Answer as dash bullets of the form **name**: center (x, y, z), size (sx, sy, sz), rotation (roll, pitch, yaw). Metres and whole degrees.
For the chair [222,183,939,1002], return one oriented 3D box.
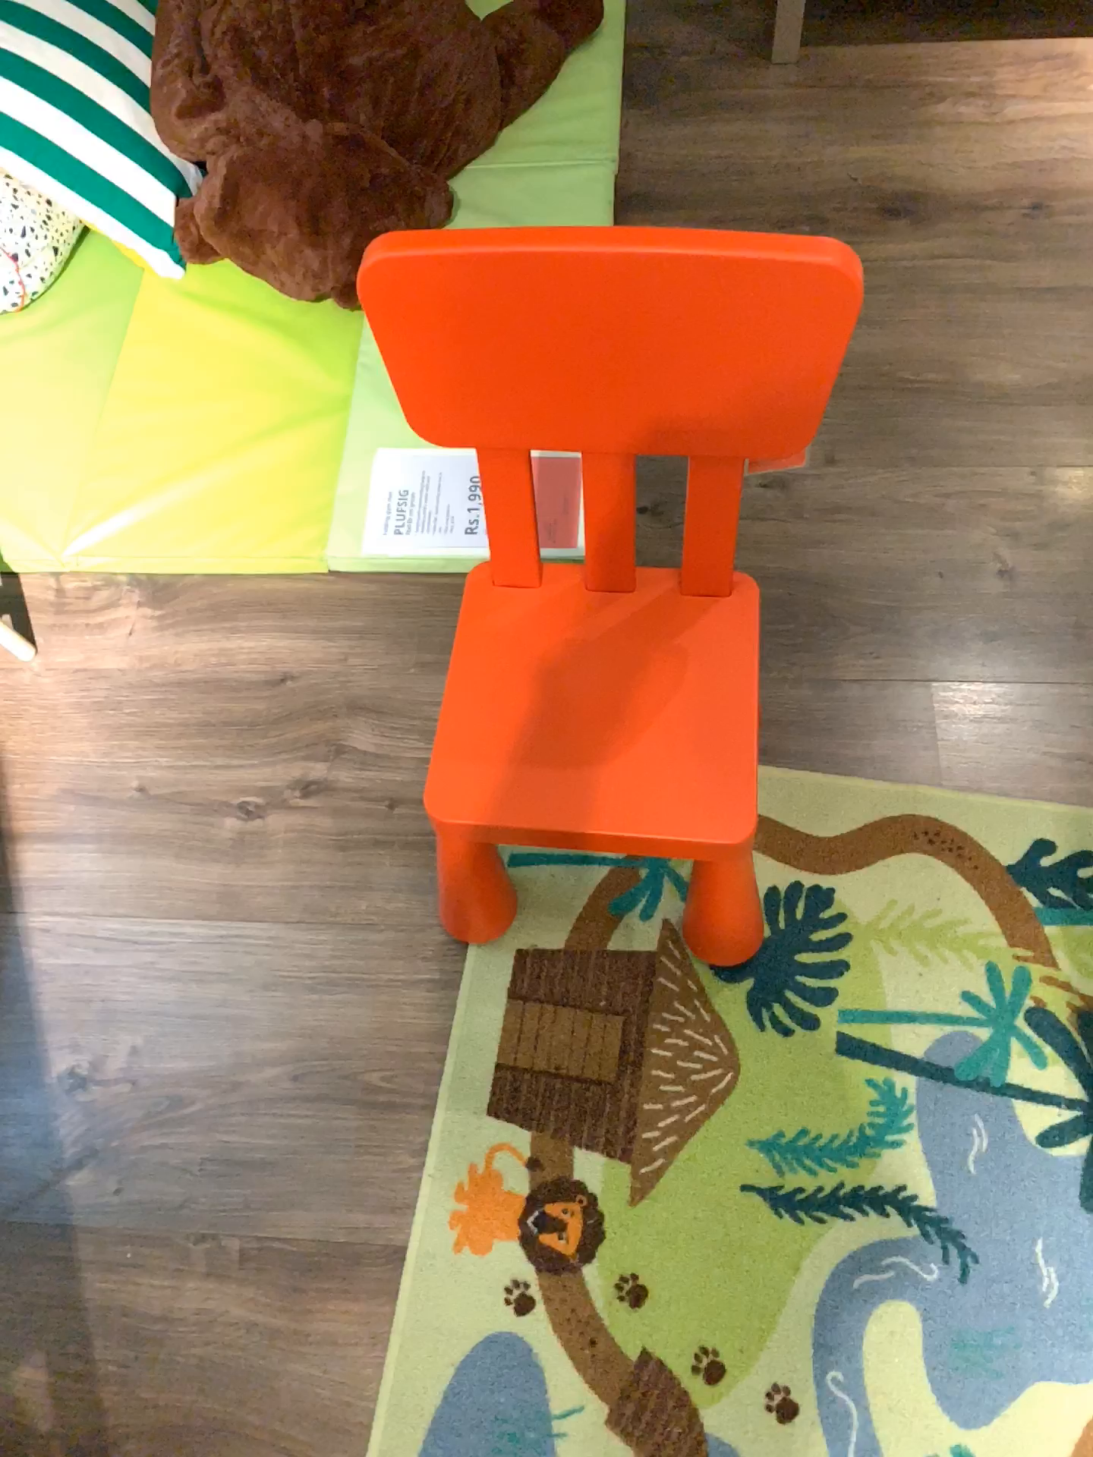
- **chair**: center (0.061, -0.078, 1.037), size (0.430, 0.599, 0.491), rotation (4, 64, 7)
